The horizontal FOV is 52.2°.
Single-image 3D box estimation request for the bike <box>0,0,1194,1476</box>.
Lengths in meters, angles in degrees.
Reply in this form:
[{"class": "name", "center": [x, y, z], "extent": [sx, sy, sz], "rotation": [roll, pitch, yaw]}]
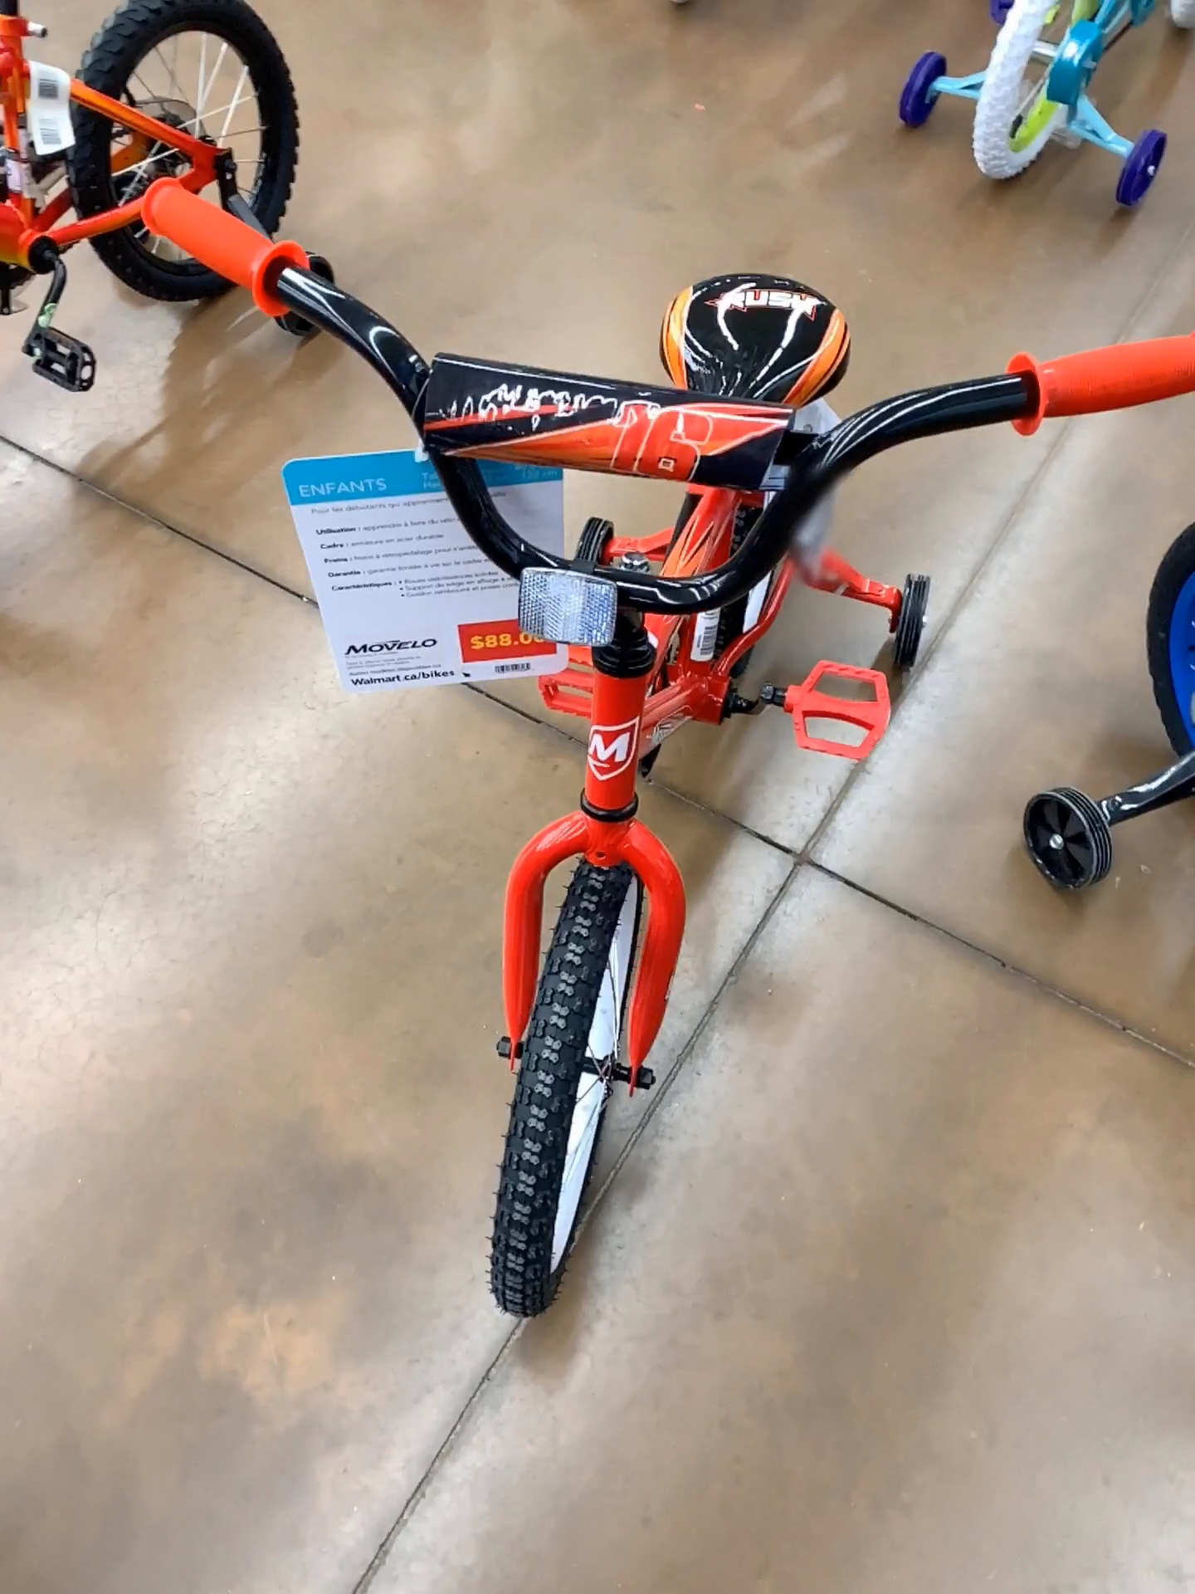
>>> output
[{"class": "bike", "center": [0.098, -0.156, 1.019], "extent": [0.585, 0.850, 1.073], "rotation": [13, 56, 9]}]
